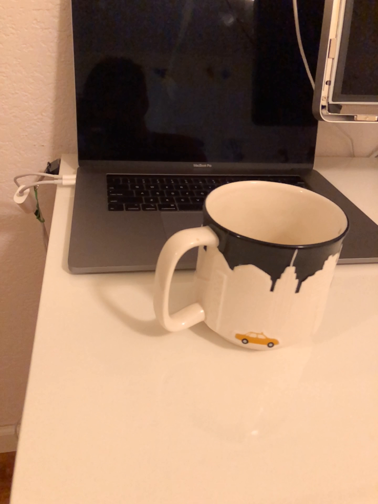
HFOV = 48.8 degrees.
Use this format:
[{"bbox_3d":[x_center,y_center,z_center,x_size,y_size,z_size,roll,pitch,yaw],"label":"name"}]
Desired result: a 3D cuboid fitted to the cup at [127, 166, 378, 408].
[{"bbox_3d":[0.046,0.012,0.311,0.150,0.099,0.110,-15,37,-28],"label":"cup"}]
